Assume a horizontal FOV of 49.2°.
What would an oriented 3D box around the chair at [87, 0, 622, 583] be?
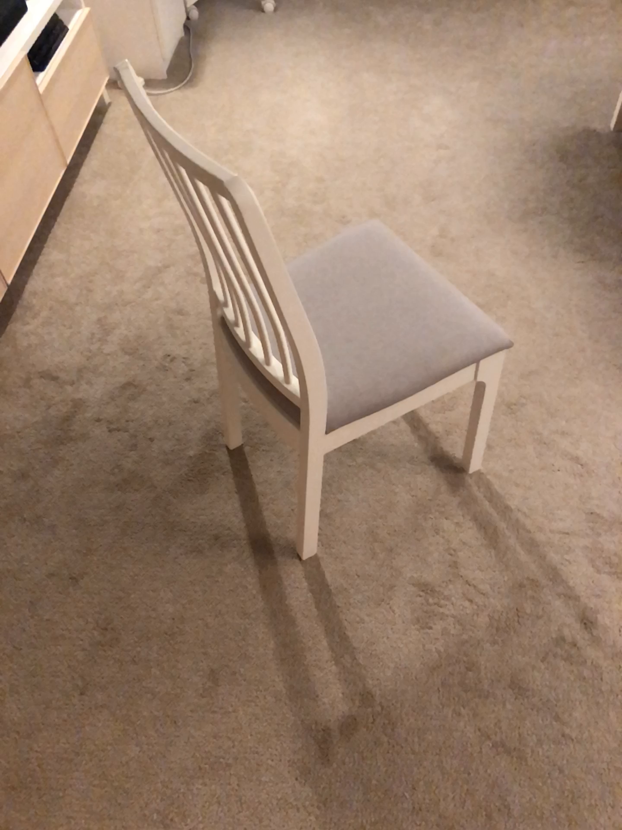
[{"bbox_3d":[0.057,-0.209,1.278,0.551,0.905,0.502,-25,55,-16],"label":"chair"}]
